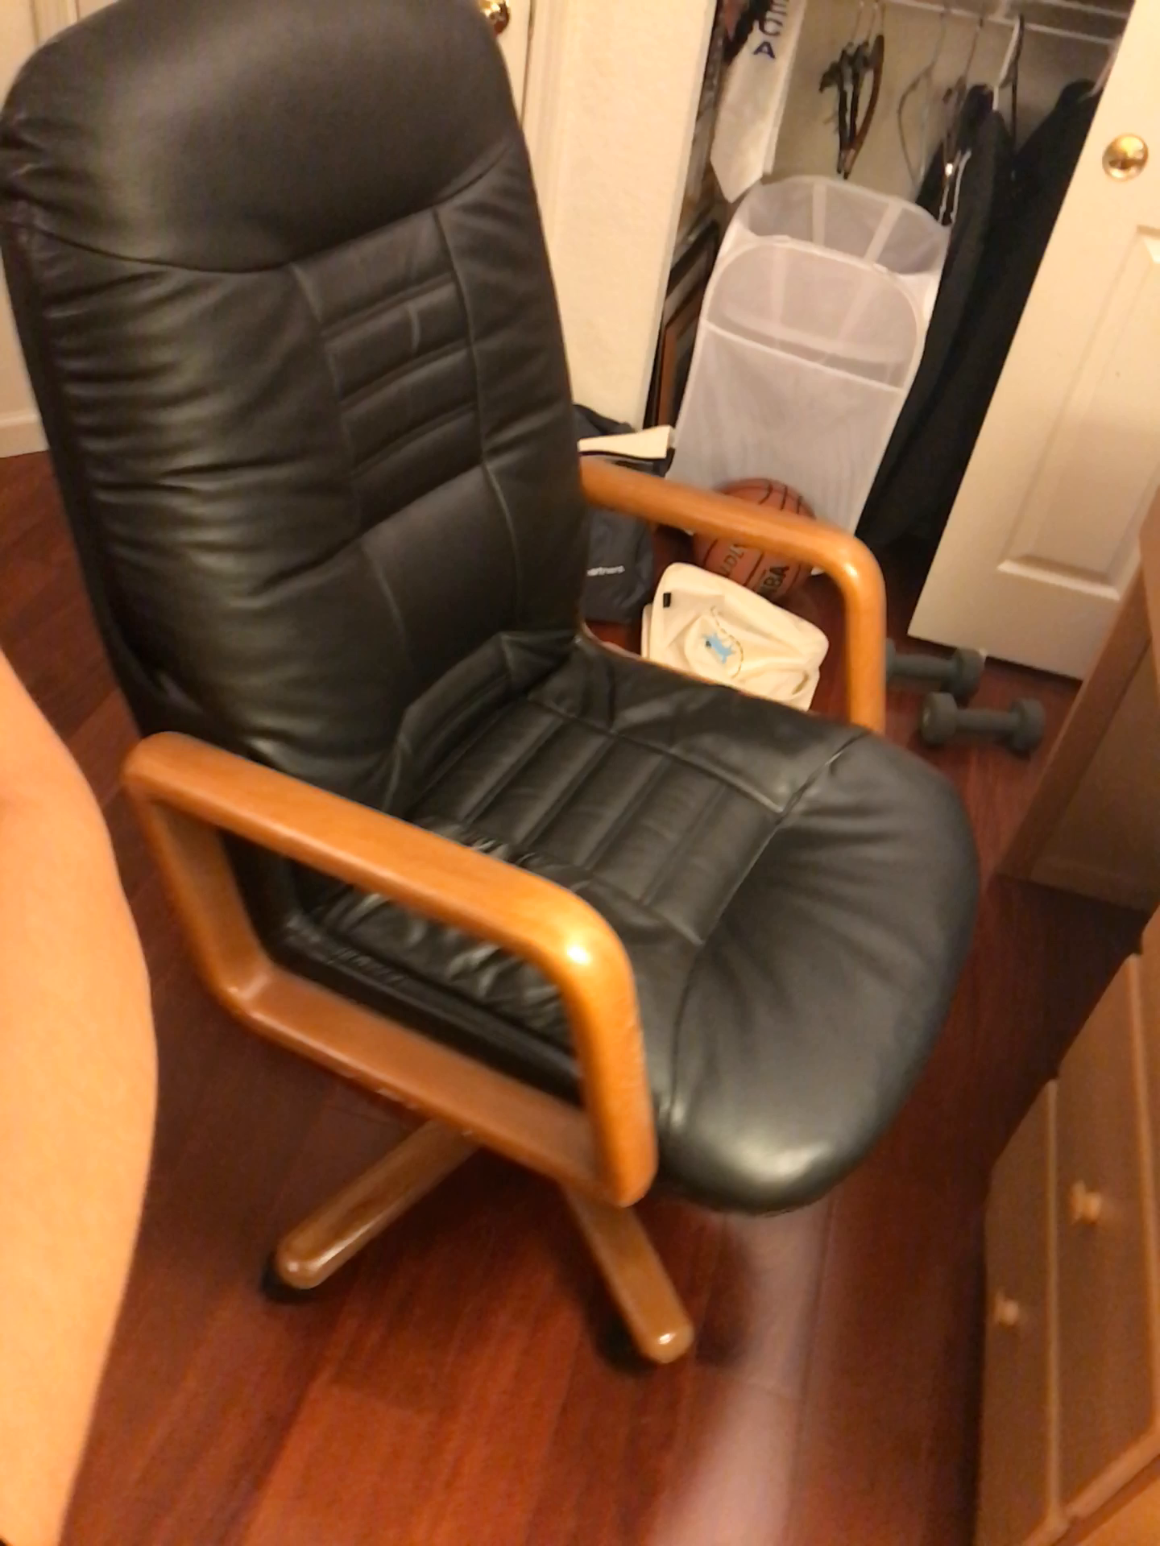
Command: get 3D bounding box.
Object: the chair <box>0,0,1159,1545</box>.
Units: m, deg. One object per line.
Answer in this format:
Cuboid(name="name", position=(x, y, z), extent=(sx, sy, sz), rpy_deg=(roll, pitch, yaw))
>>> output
Cuboid(name="chair", position=(0.052, -0.064, 1.264), extent=(0.850, 1.141, 0.997), rpy_deg=(25, 45, 16))
